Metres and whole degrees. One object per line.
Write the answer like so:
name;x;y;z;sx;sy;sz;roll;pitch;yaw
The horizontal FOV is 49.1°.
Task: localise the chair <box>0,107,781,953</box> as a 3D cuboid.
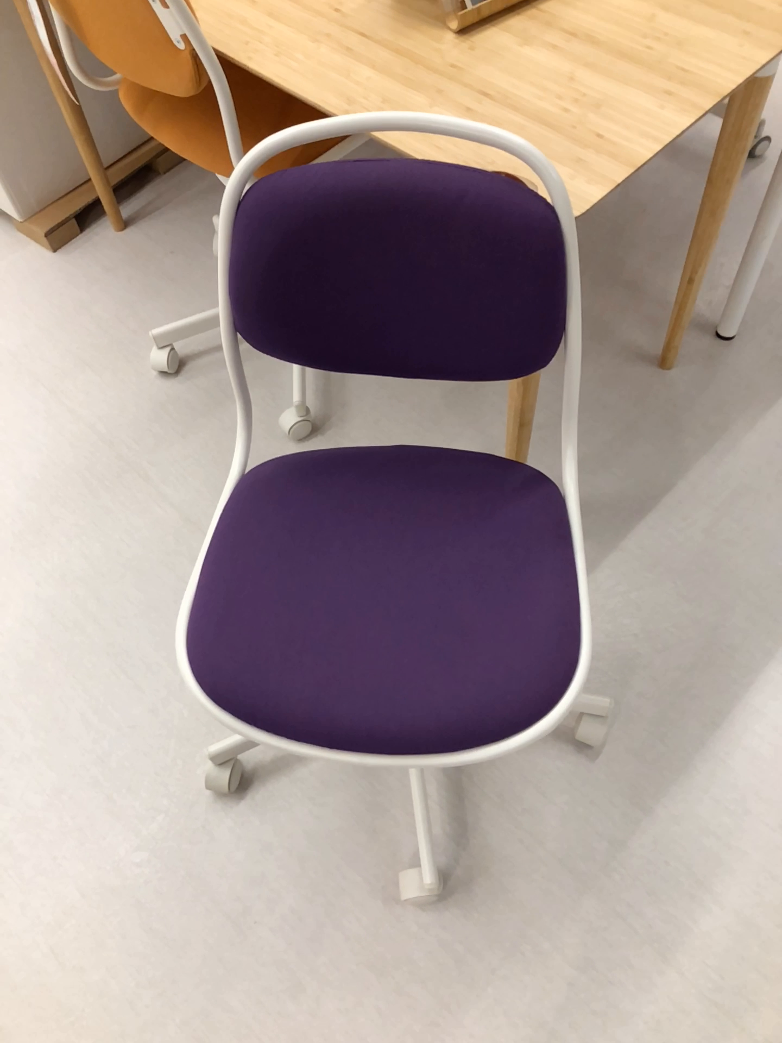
chair;0.016;0.067;1.034;0.620;0.777;0.663;5;58;7
